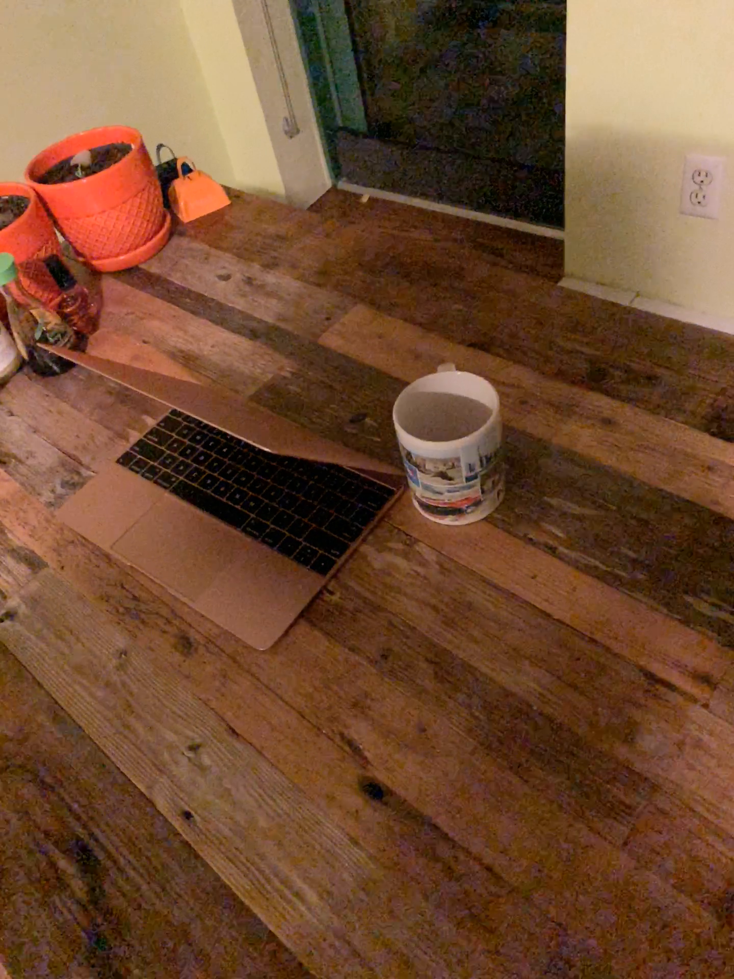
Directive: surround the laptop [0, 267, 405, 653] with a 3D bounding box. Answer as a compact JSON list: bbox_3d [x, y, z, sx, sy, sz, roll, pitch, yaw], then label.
[{"bbox_3d":[-0.144,-0.040,0.635,0.279,0.145,0.194,25,60,31],"label":"laptop"}]
